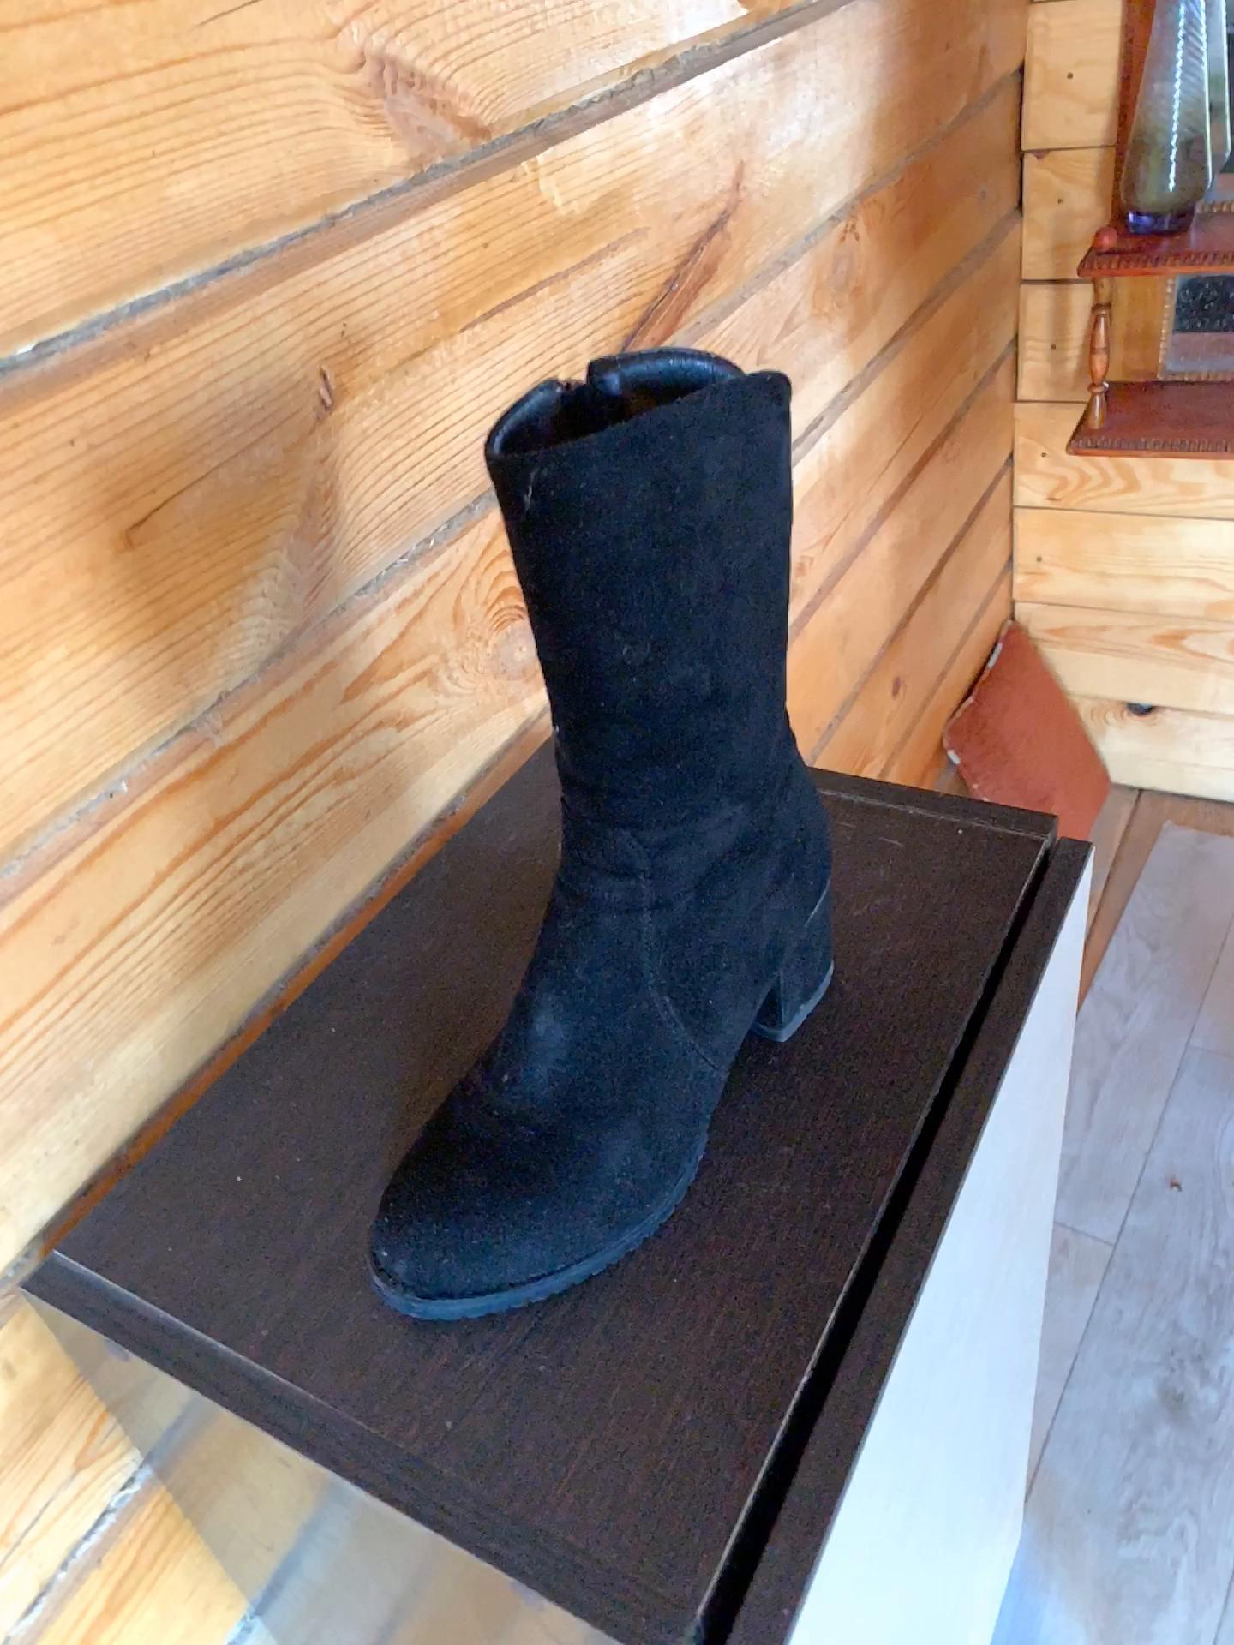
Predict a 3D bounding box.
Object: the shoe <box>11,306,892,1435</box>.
[{"bbox_3d":[-0.012,0.007,0.414,0.100,0.267,0.234,17,44,33],"label":"shoe"}]
